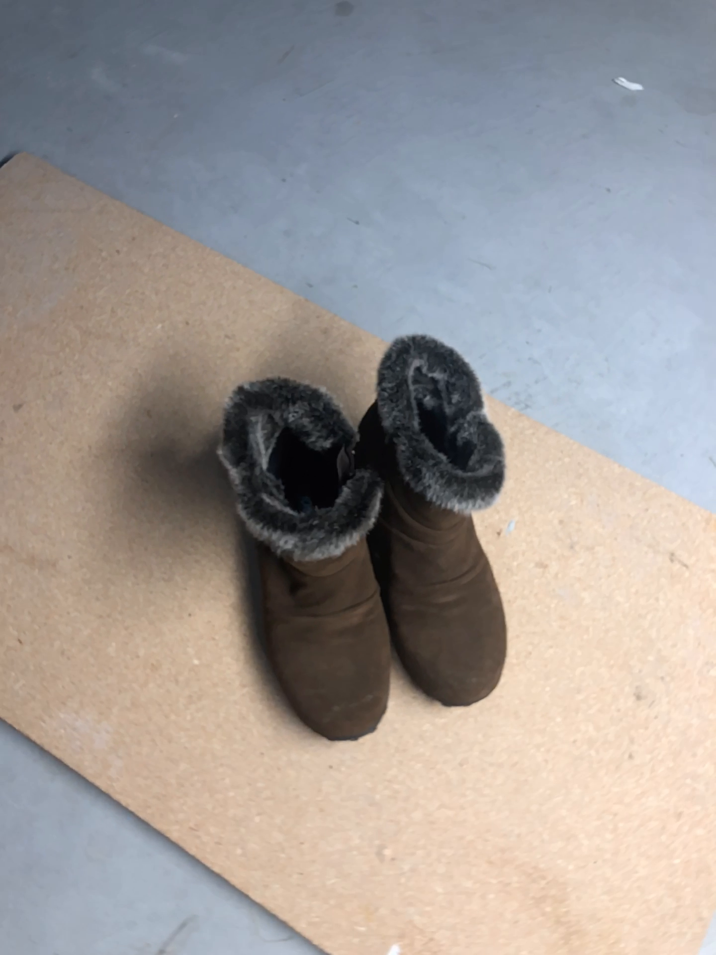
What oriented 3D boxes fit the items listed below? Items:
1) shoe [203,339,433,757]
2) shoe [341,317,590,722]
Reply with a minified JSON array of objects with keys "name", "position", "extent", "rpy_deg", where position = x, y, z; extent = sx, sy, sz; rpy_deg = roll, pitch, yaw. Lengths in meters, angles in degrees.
[{"name":"shoe","position":[-0.037,0.066,0.623],"extent":[0.100,0.220,0.250],"rpy_deg":[-11,66,-8]},{"name":"shoe","position":[0.067,0.042,0.652],"extent":[0.100,0.200,0.260],"rpy_deg":[-11,66,-8]}]
